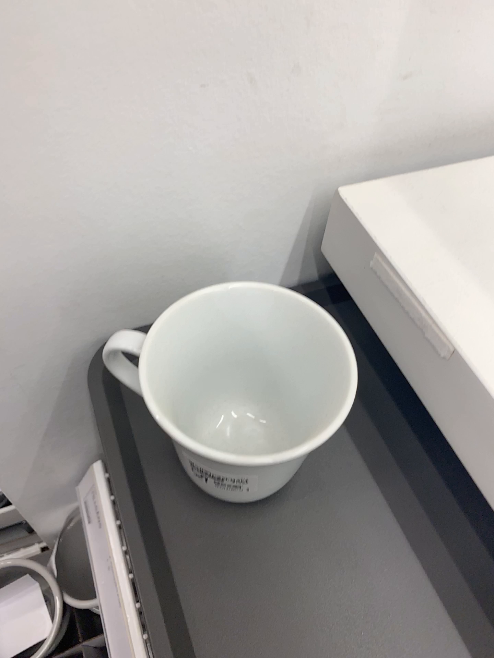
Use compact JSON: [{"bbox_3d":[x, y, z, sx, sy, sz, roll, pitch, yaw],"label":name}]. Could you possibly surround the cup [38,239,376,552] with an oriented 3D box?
[{"bbox_3d":[-0.013,0.036,0.272,0.130,0.100,0.100,13,52,6],"label":"cup"}]
